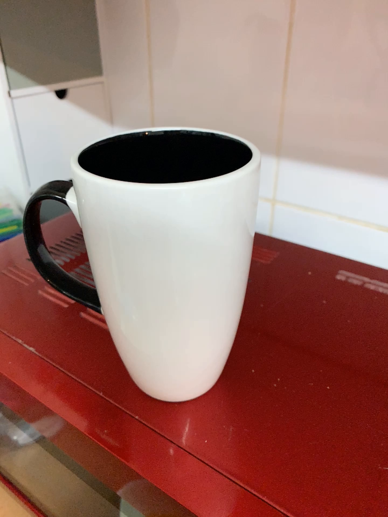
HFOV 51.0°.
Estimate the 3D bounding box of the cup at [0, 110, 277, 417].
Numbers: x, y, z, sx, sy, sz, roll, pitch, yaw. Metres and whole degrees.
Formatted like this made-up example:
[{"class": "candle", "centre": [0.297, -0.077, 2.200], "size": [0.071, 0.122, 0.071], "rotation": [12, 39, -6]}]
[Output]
[{"class": "cup", "centre": [-0.029, -0.005, 0.232], "size": [0.130, 0.129, 0.091], "rotation": [8, 32, 15]}]
